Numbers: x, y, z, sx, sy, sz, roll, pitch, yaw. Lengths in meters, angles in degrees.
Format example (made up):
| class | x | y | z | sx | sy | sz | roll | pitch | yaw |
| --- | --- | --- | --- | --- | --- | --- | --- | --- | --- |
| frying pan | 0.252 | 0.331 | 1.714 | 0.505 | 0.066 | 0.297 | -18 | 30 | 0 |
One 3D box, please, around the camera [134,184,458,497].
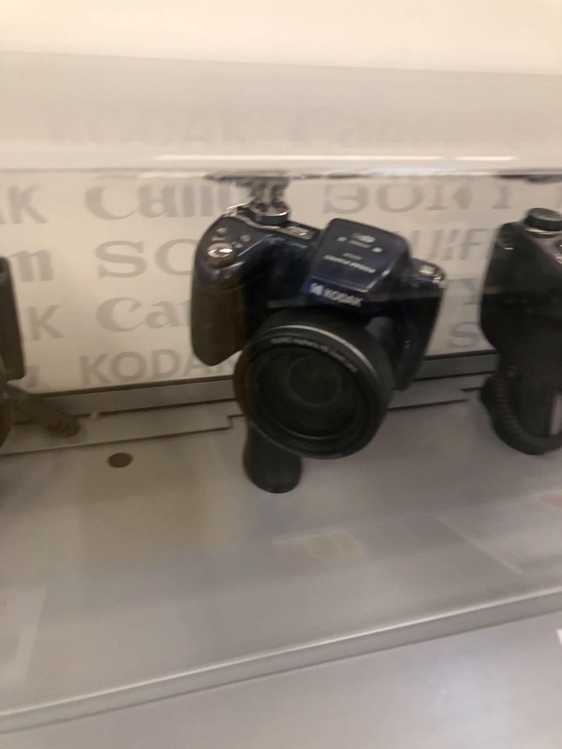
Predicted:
| class | x | y | z | sx | sy | sz | roll | pitch | yaw |
| --- | --- | --- | --- | --- | --- | --- | --- | --- | --- |
| camera | 0.011 | -0.025 | 0.305 | 0.120 | 0.090 | 0.111 | 14 | 34 | 13 |
